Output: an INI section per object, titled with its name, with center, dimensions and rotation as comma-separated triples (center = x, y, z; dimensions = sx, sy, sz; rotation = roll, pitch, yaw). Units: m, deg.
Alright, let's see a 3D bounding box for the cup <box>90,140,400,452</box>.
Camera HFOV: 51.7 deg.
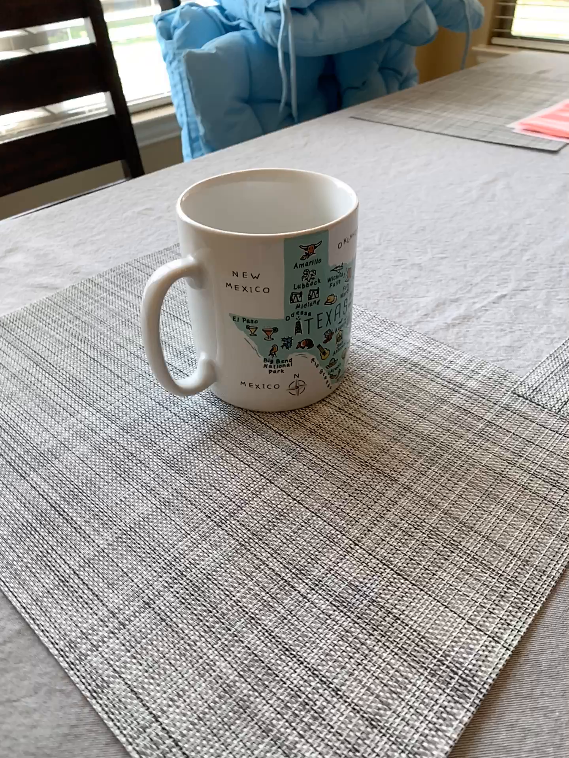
[cup]
center = -0.025, -0.061, 0.388
dimensions = 0.150, 0.136, 0.112
rotation = -19, 41, -20
